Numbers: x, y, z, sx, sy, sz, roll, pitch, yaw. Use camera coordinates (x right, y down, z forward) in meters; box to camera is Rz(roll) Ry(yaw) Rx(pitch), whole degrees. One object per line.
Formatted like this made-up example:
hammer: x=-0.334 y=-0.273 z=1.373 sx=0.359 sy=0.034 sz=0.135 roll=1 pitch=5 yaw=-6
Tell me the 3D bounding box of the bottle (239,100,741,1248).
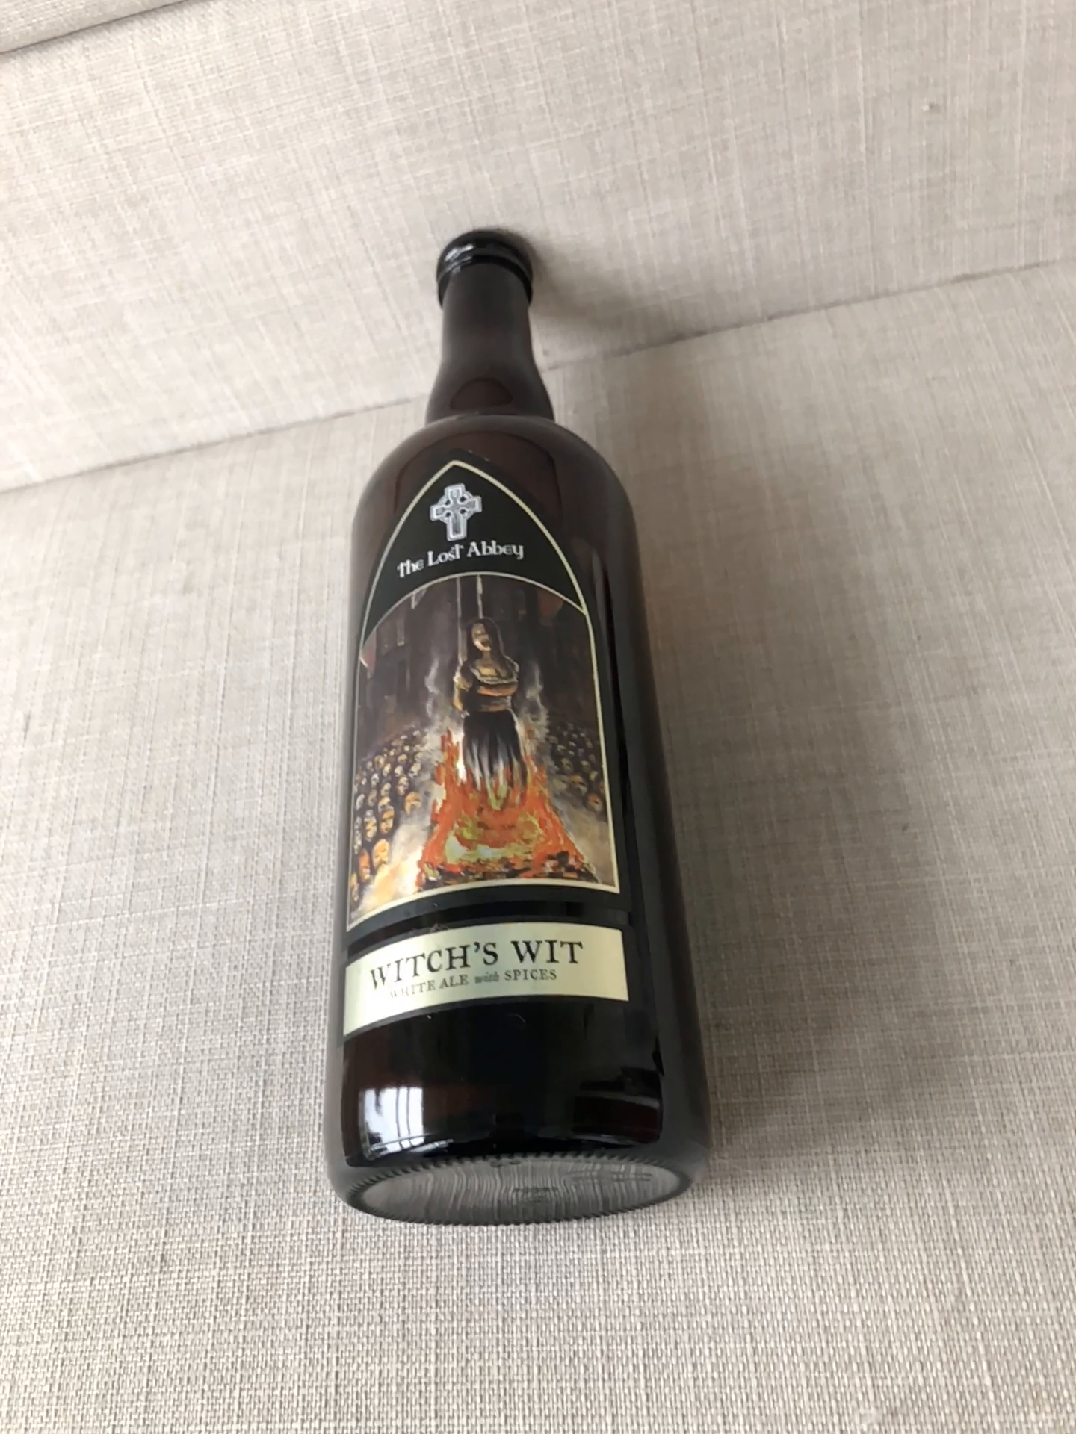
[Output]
bottle: x=-0.012 y=-0.026 z=0.305 sx=0.080 sy=0.079 sz=0.282 roll=-9 pitch=59 yaw=9
